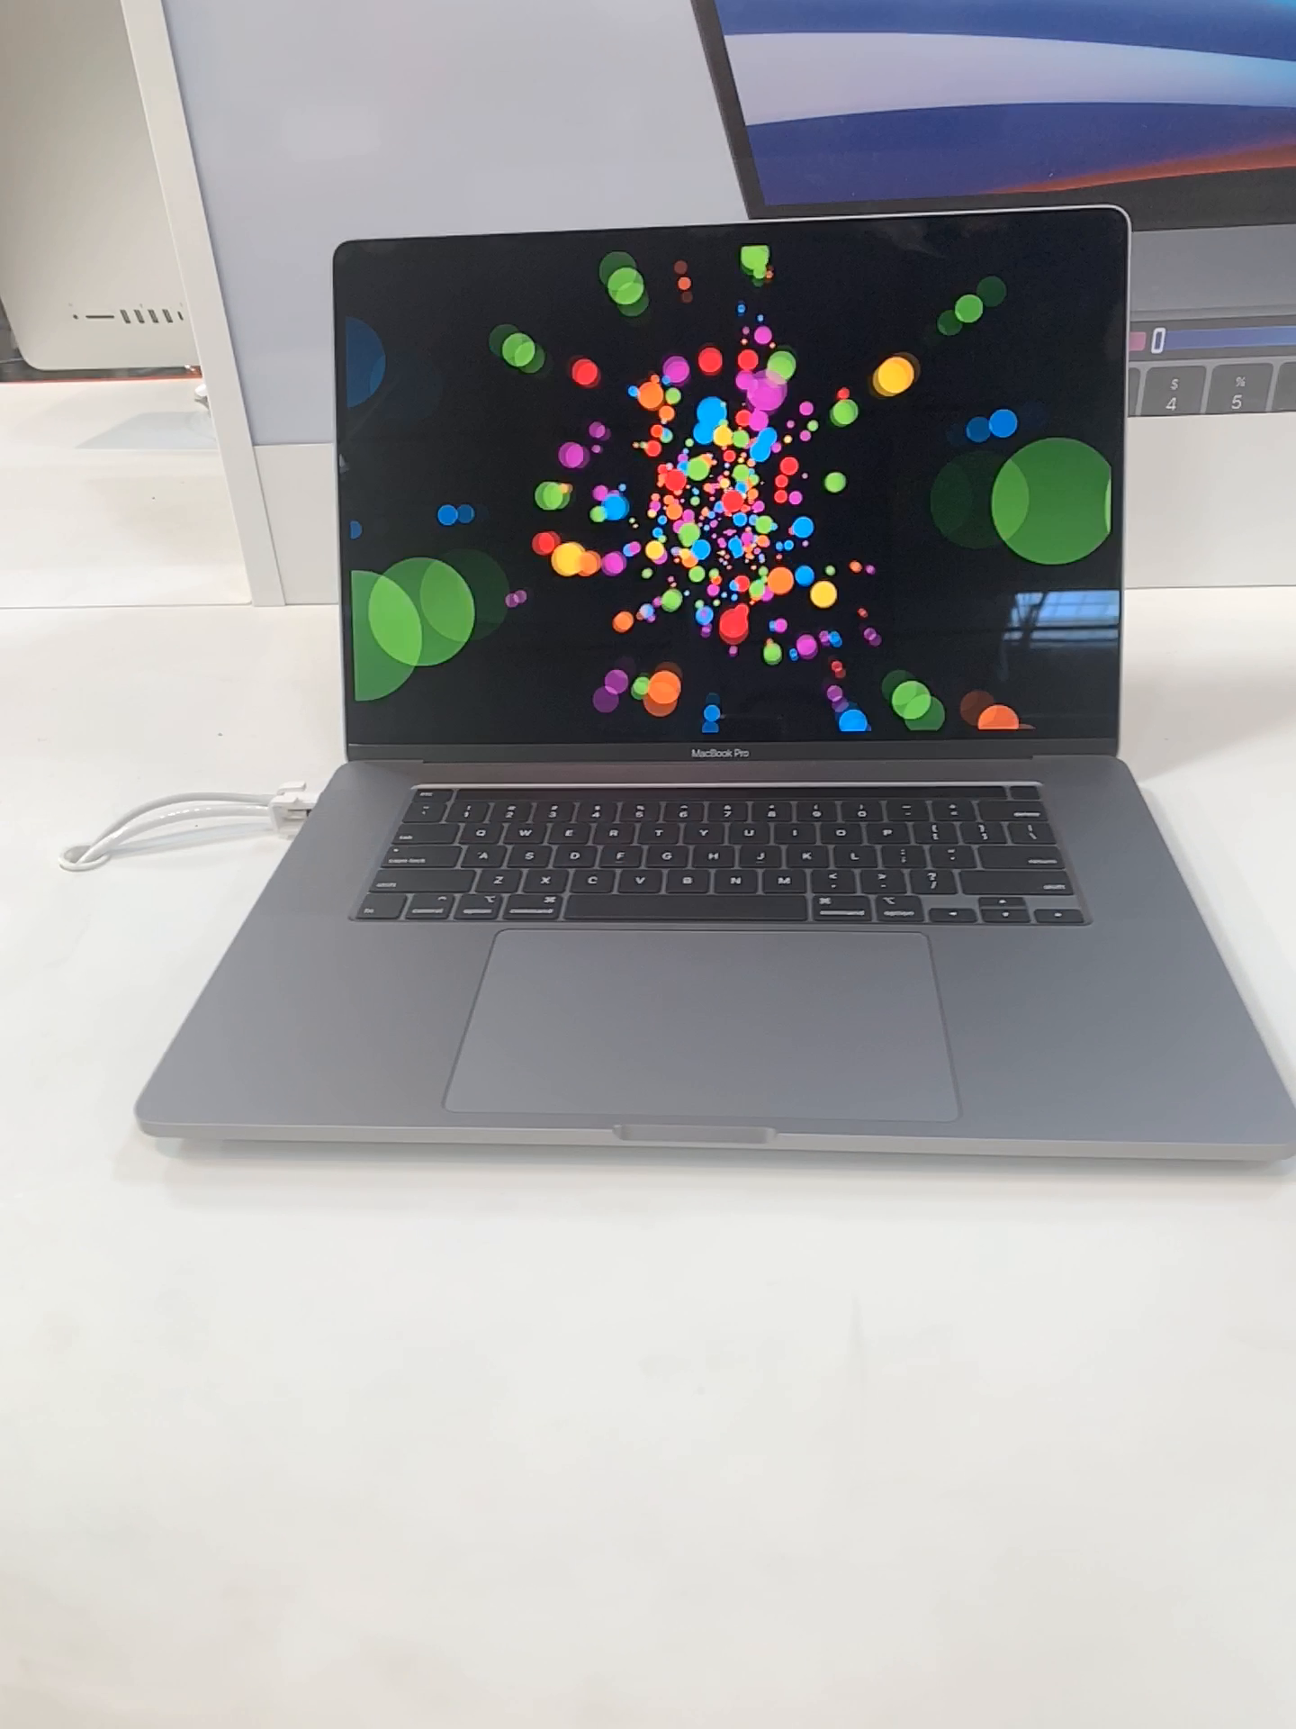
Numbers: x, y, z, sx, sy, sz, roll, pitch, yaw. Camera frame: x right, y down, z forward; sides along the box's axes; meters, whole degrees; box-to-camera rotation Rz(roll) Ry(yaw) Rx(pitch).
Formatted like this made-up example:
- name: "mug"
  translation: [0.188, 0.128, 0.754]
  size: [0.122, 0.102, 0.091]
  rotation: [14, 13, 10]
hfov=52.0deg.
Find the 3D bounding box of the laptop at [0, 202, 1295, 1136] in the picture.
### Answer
- name: "laptop"
  translation: [0.025, -0.100, 0.481]
  size: [0.341, 0.203, 0.347]
  rotation: [0, 31, 5]
